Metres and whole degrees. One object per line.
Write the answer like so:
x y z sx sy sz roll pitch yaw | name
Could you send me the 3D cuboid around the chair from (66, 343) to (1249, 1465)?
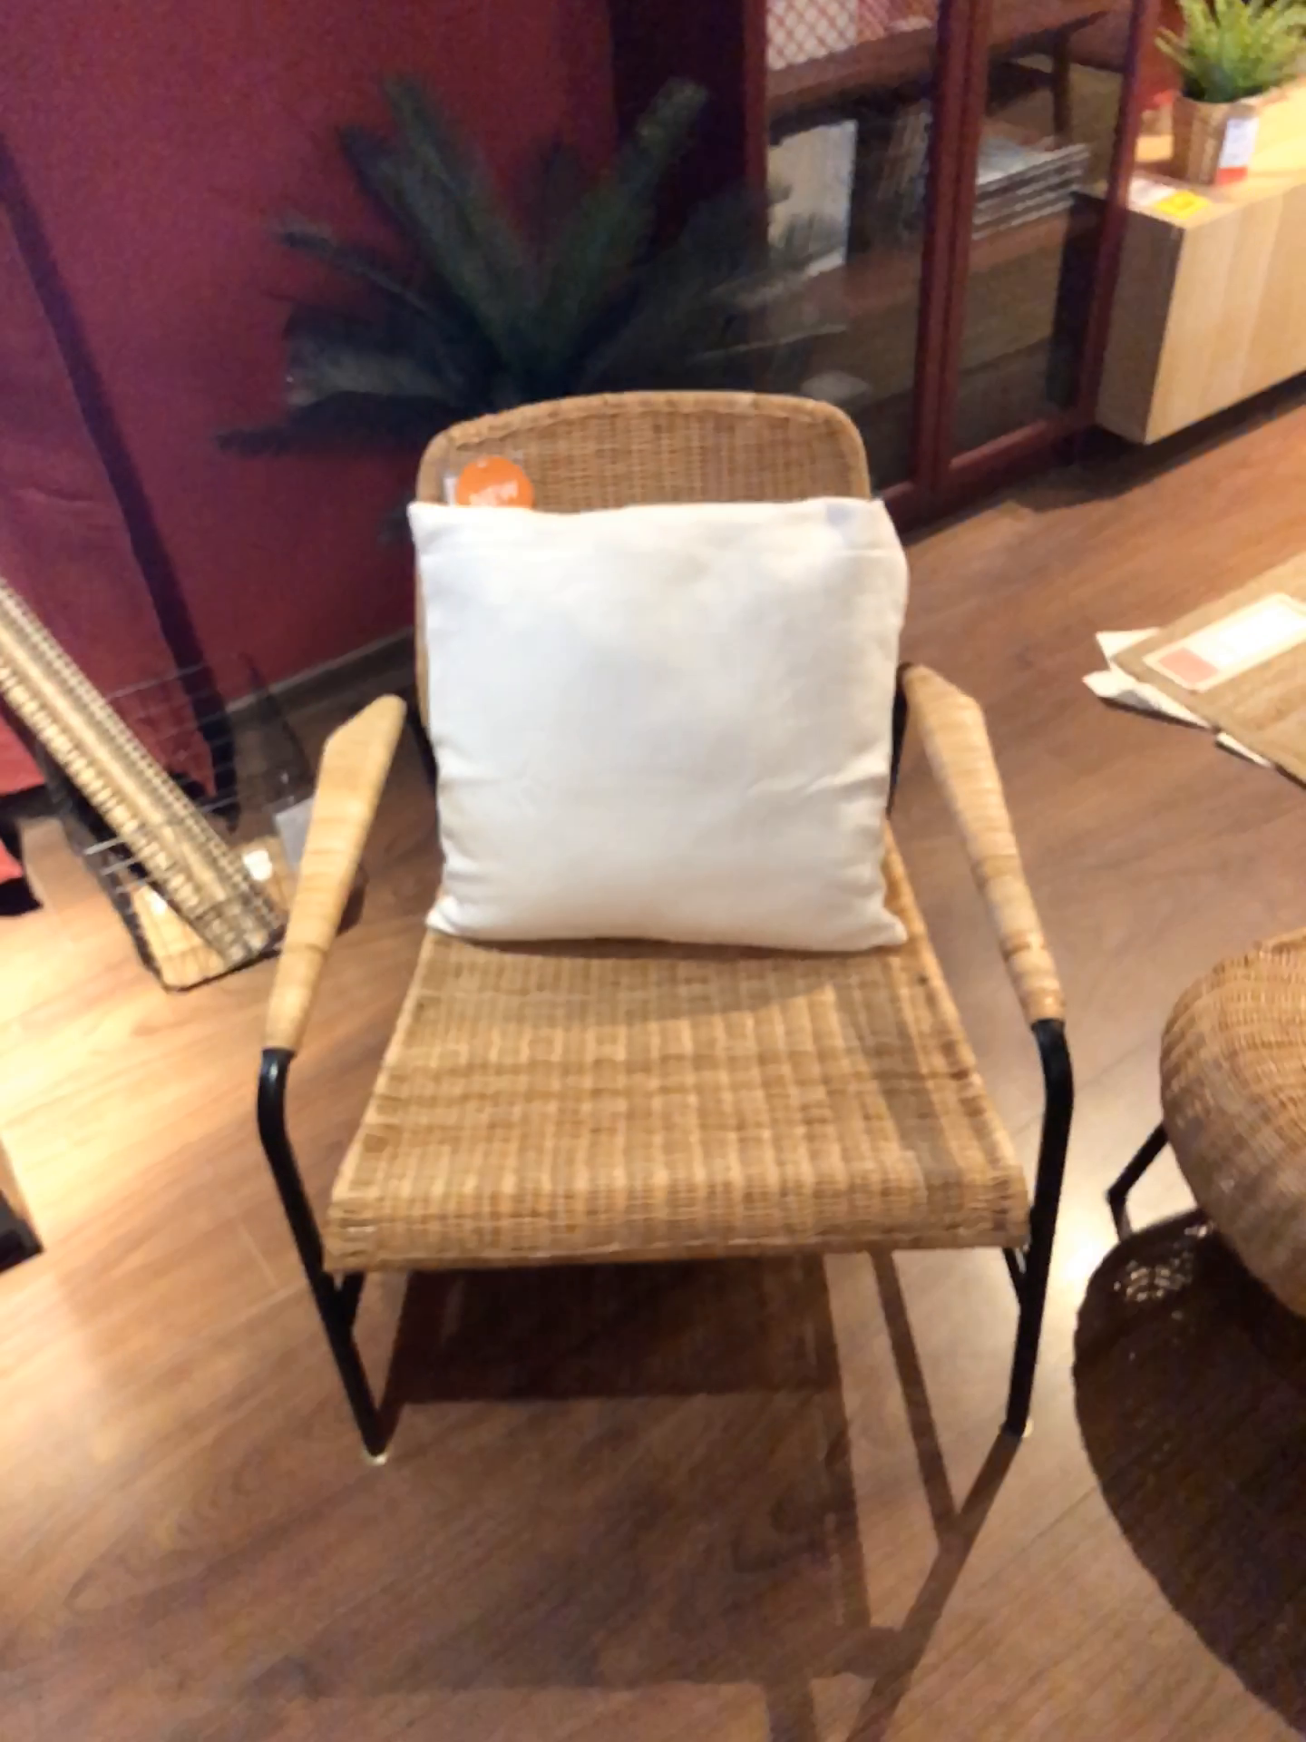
0.013 0.033 1.301 0.670 0.706 0.664 -4 43 1 | chair
